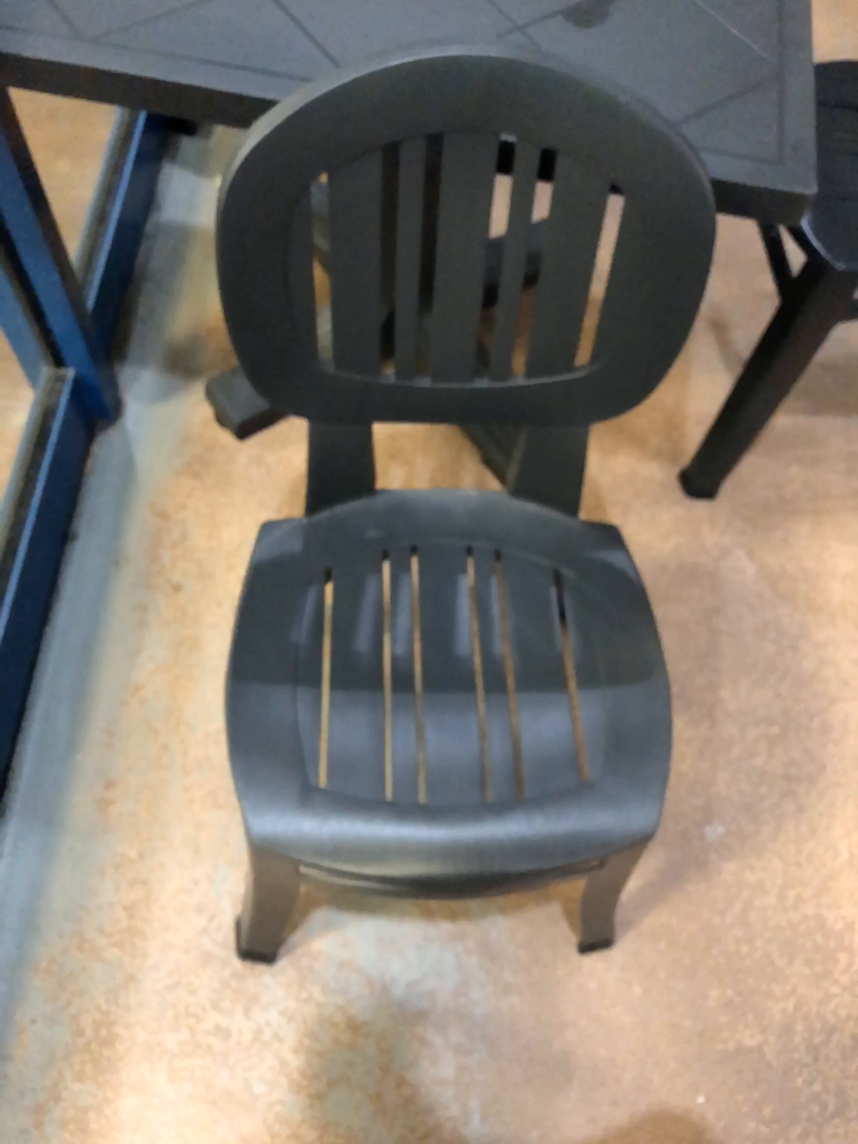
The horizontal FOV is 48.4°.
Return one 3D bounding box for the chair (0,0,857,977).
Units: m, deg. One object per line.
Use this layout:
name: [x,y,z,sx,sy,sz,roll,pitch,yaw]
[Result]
chair: [0.029,0.015,0.799,0.500,0.737,0.552,1,64,-4]
